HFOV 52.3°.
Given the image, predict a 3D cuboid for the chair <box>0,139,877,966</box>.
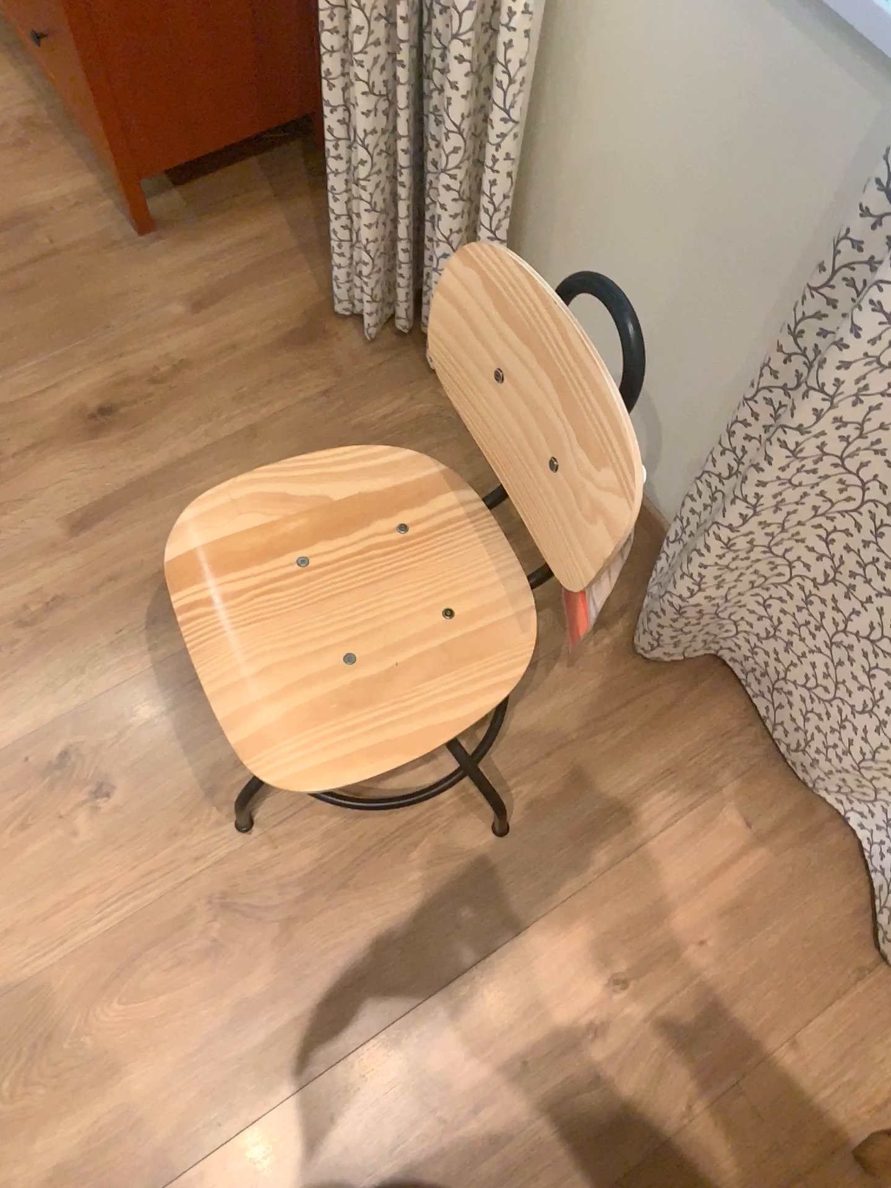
[{"bbox_3d":[-0.072,0.007,0.990,0.630,0.599,0.490,-23,69,-13],"label":"chair"}]
